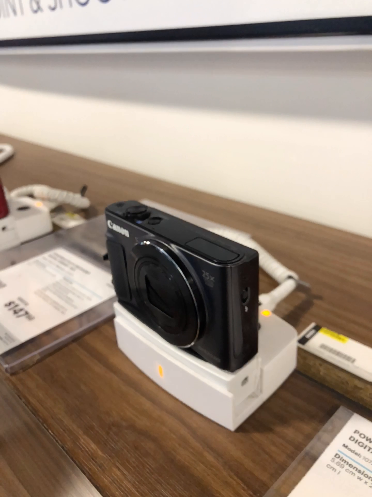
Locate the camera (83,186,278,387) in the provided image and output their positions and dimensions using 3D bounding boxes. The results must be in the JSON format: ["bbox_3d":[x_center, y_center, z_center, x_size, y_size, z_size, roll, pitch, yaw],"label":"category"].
[{"bbox_3d":[-0.007,0.011,0.206,0.030,0.060,0.100,-24,33,-37],"label":"camera"}]
